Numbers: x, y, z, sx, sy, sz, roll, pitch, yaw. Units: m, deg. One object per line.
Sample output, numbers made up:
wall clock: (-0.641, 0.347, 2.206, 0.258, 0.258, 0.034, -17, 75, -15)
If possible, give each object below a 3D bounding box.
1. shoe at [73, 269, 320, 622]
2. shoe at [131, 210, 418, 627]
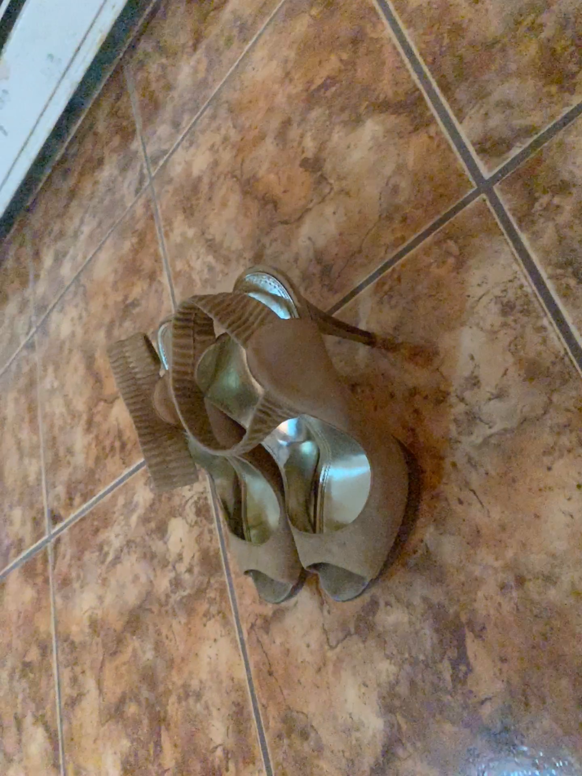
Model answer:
shoe: (-0.059, 0.045, 0.428, 0.082, 0.140, 0.209, -11, 72, 45)
shoe: (-0.001, 0.026, 0.367, 0.082, 0.149, 0.204, -11, 72, 45)
